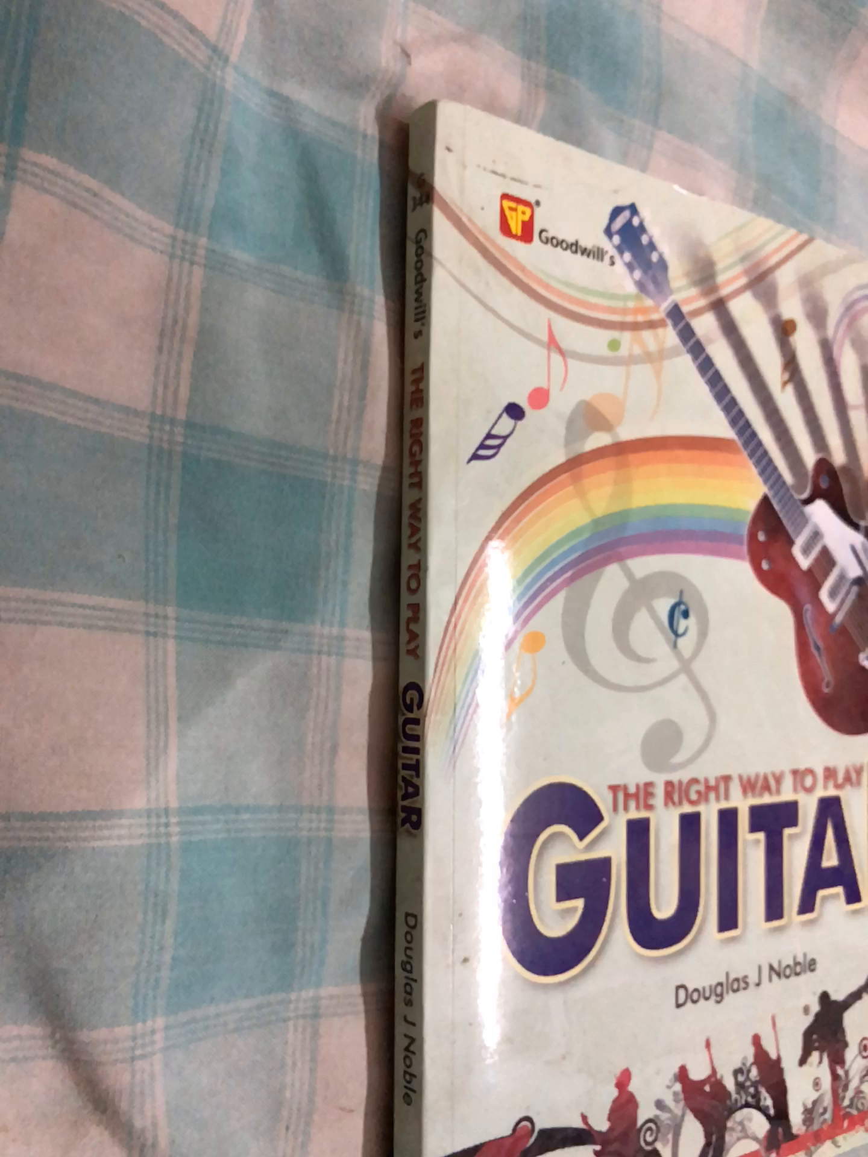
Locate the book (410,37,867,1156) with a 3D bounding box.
[{"bbox_3d":[0.080,0.026,0.230,0.181,0.030,0.240,4,84,-33],"label":"book"}]
